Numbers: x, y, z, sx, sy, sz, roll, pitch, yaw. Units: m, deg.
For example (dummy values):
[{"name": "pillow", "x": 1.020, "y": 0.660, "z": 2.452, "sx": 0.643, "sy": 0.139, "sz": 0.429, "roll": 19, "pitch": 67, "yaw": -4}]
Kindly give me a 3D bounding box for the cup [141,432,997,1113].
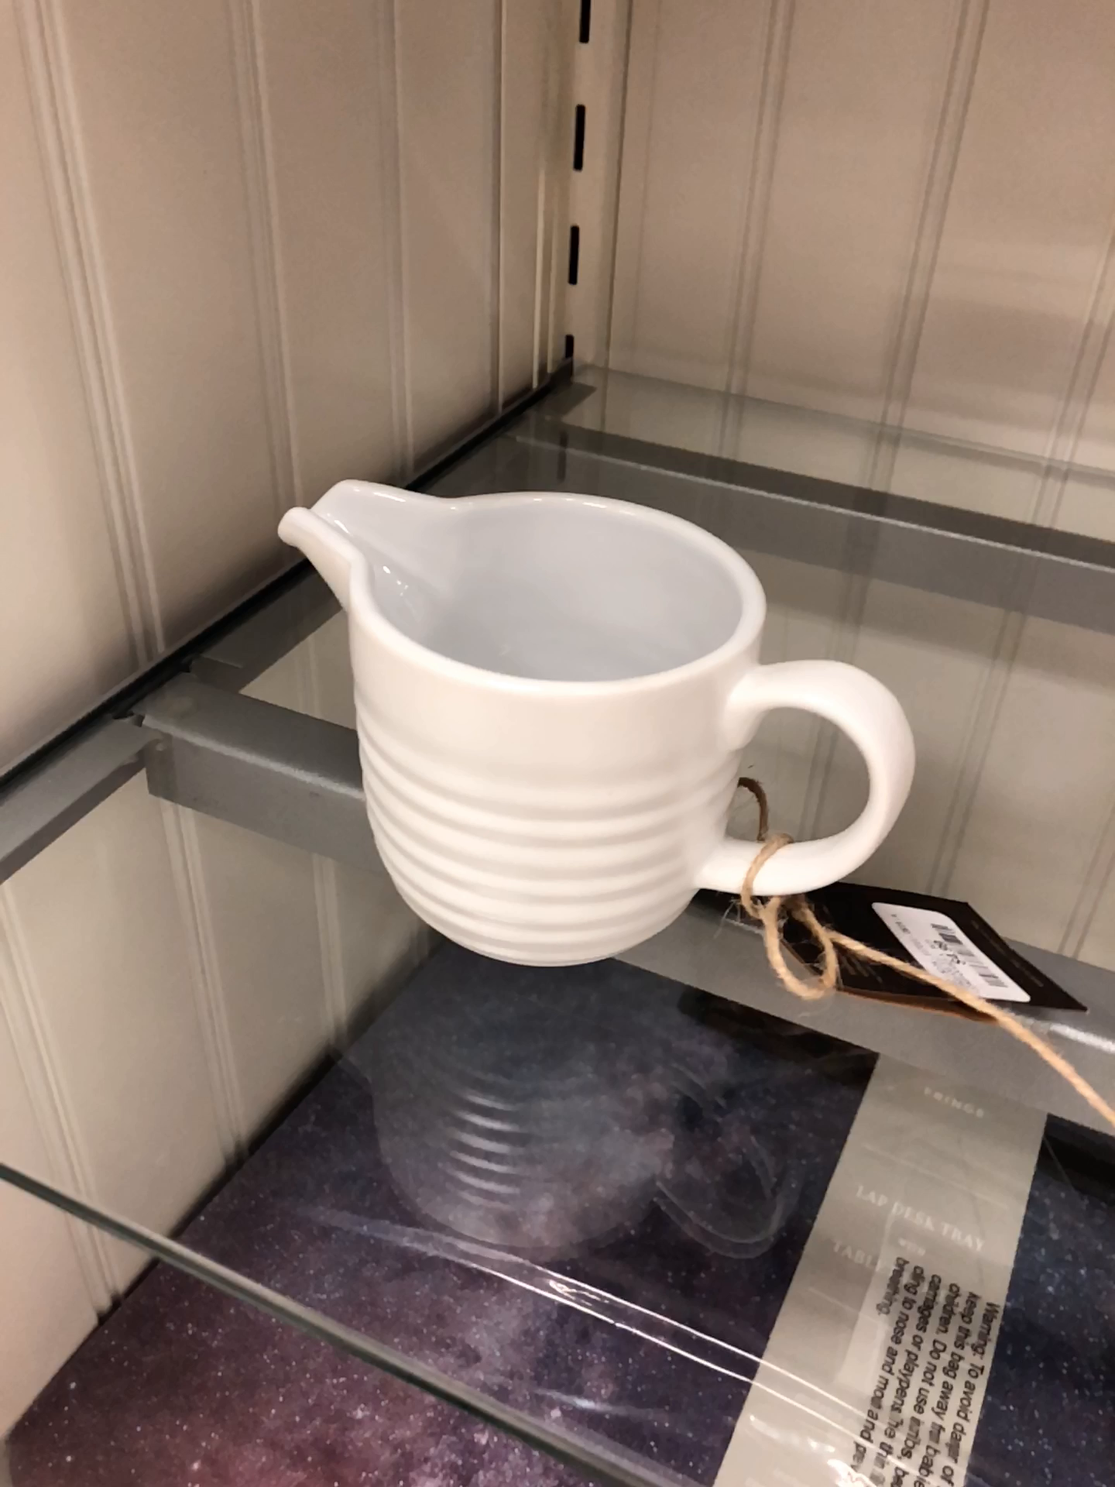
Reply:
[{"name": "cup", "x": 0.001, "y": -0.003, "z": 0.246, "sx": 0.140, "sy": 0.069, "sz": 0.070, "roll": 19, "pitch": 39, "yaw": 21}]
